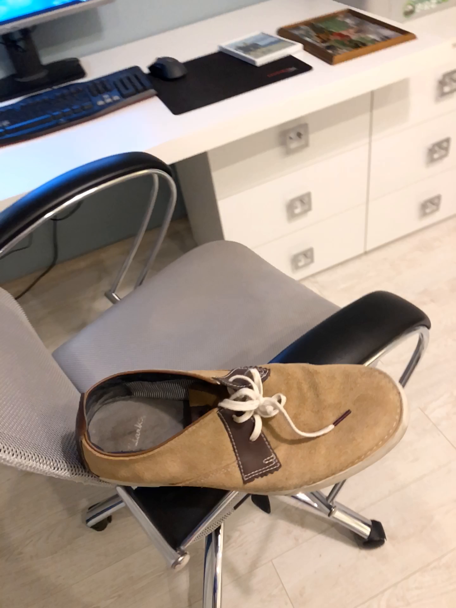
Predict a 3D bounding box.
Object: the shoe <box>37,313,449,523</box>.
[{"bbox_3d":[0.009,0.100,0.443,0.309,0.079,0.121,-8,45,4],"label":"shoe"}]
